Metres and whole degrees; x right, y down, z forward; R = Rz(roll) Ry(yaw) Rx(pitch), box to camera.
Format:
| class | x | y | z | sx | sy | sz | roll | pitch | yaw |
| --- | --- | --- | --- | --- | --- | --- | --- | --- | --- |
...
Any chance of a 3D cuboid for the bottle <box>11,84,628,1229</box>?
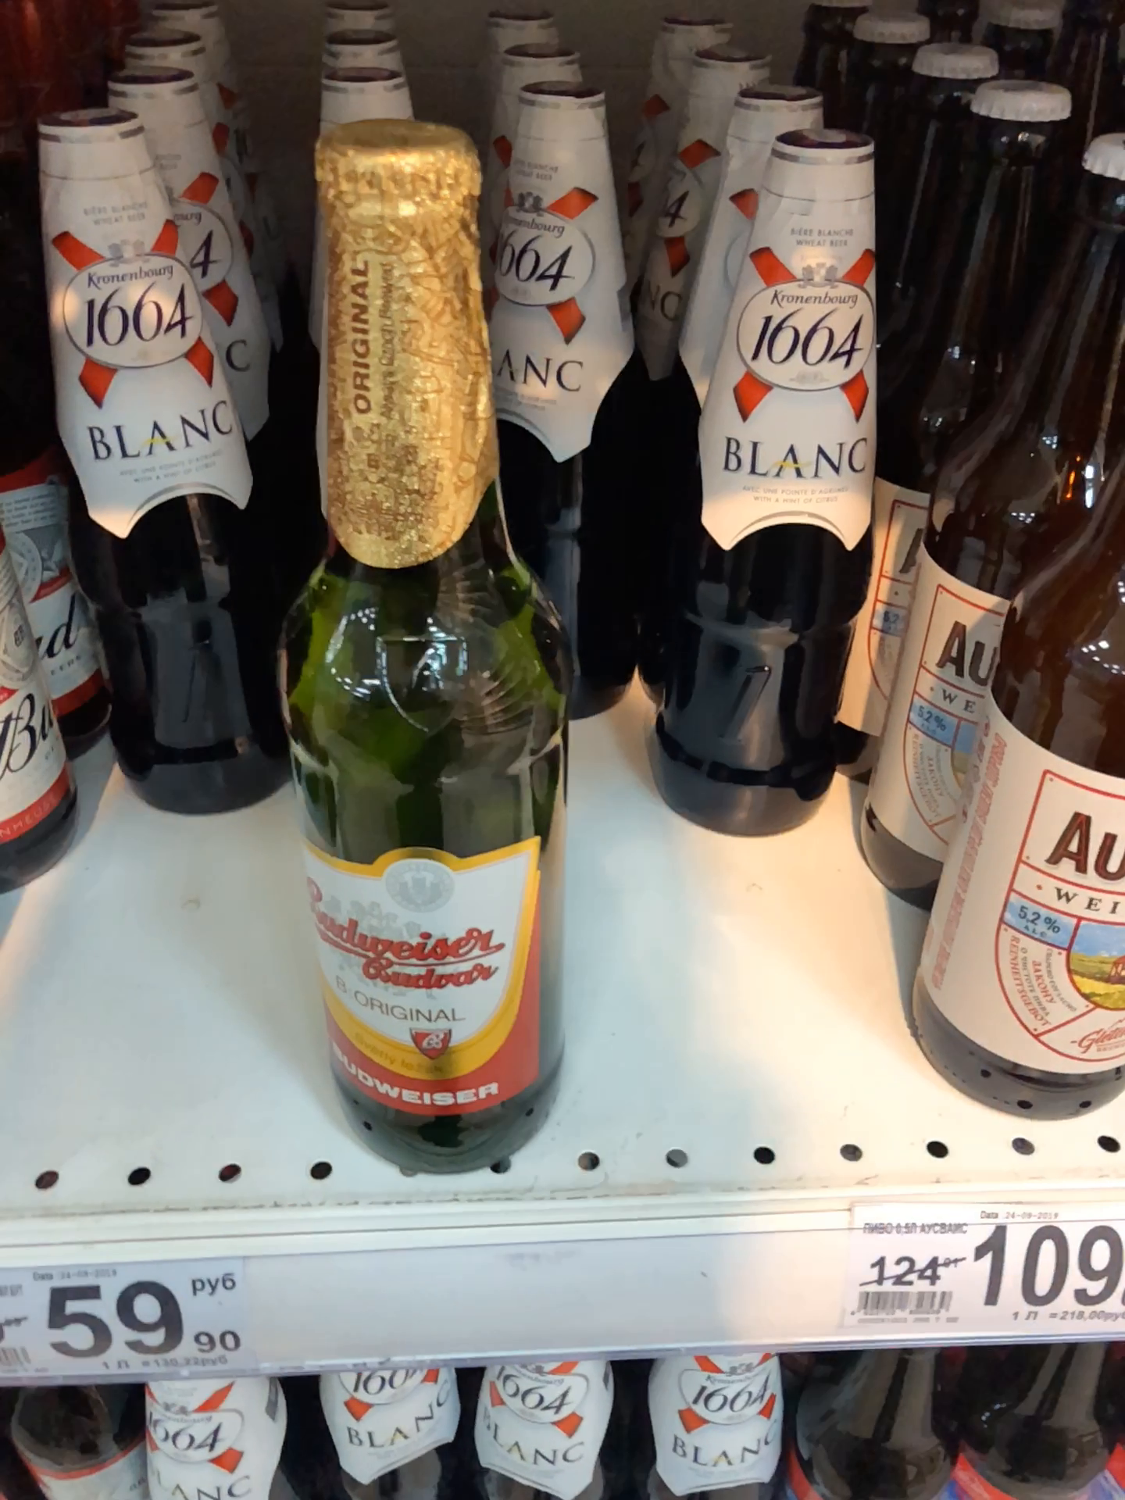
| class | x | y | z | sx | sy | sz | roll | pitch | yaw |
| --- | --- | --- | --- | --- | --- | --- | --- | --- | --- |
| bottle | -0.036 | -0.001 | 0.283 | 0.080 | 0.254 | 0.070 | 9 | 39 | 11 |
